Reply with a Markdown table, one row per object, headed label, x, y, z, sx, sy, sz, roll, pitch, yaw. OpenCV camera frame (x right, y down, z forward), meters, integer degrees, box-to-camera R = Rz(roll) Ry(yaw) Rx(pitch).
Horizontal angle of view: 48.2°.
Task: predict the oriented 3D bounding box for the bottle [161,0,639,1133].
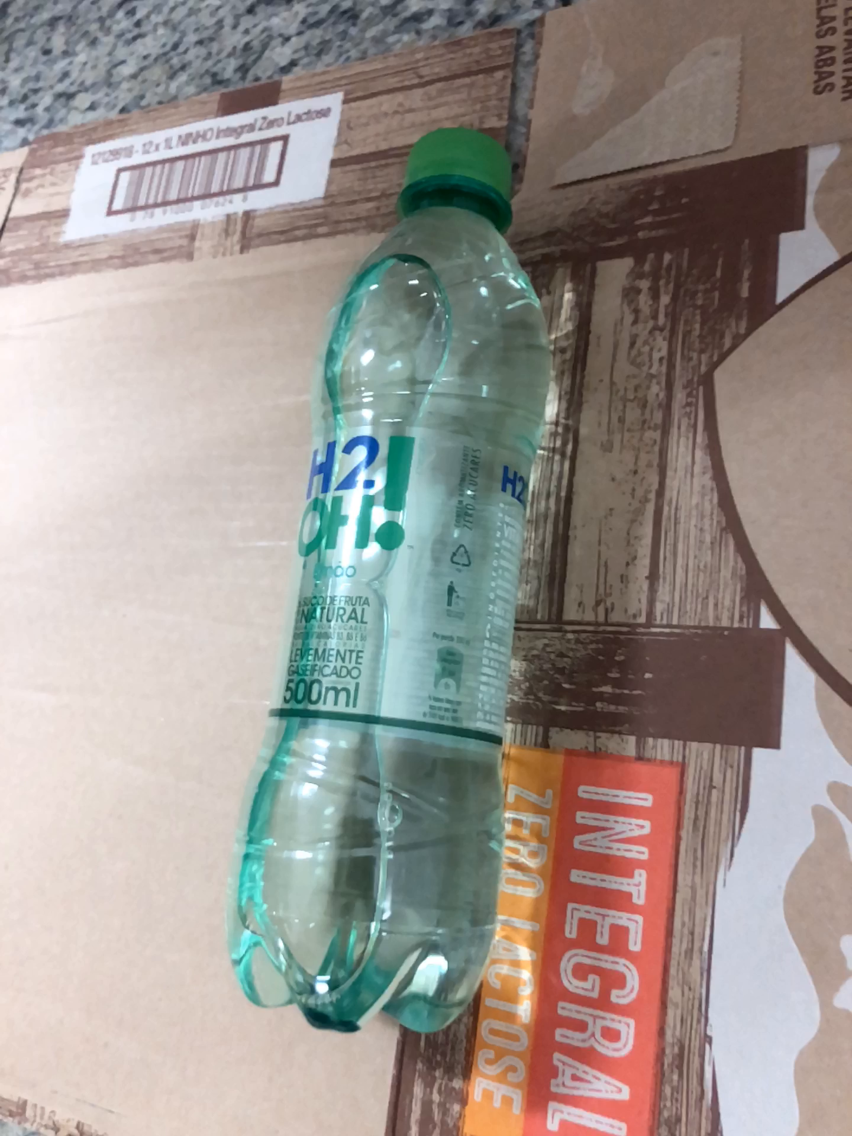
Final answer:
| label | x | y | z | sx | sy | sz | roll | pitch | yaw |
| --- | --- | --- | --- | --- | --- | --- | --- | --- | --- |
| bottle | 0.003 | -0.012 | 0.239 | 0.070 | 0.050 | 0.250 | 1 | 74 | 26 |
